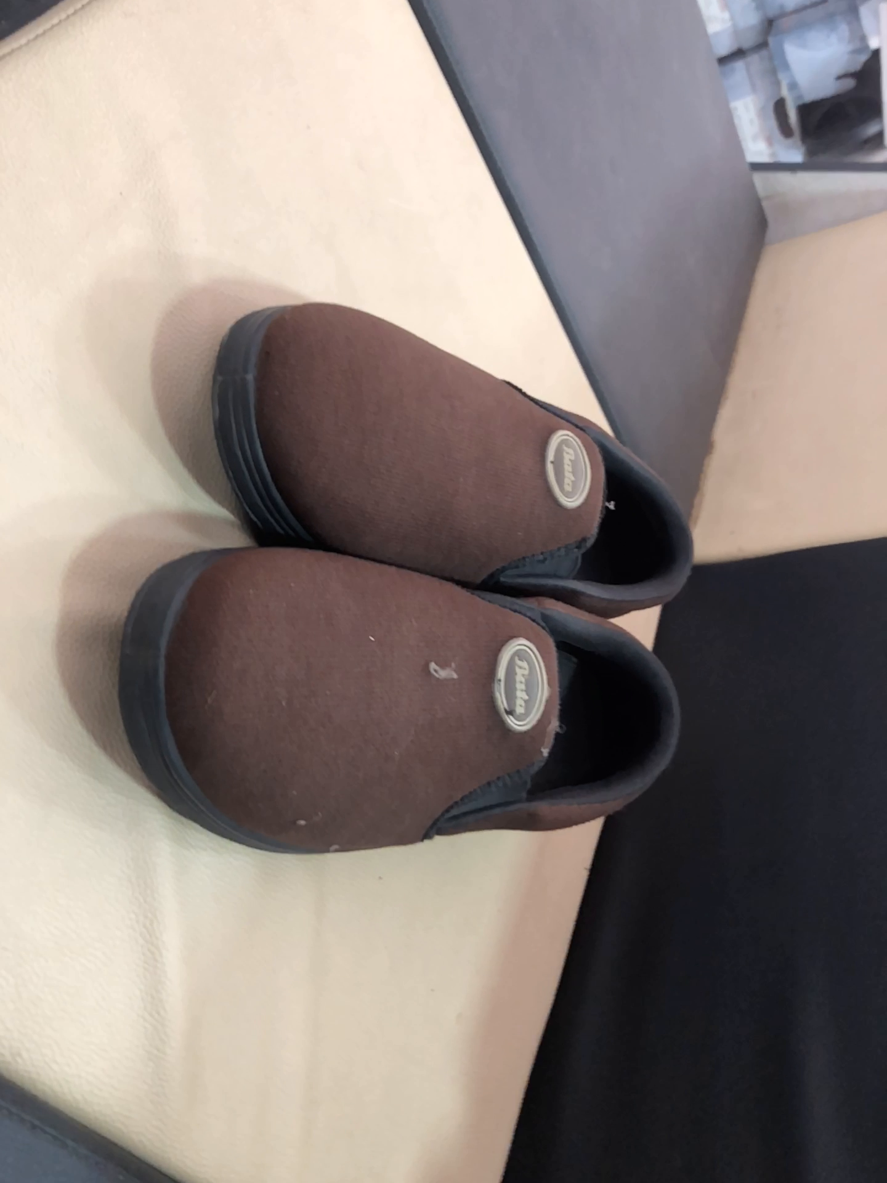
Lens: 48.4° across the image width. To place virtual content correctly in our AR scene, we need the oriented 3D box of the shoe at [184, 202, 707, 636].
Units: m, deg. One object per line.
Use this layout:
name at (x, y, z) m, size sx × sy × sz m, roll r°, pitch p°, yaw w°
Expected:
shoe at (0.023, -0.047, 0.418) m, size 0.252 × 0.089 × 0.090 m, roll 18°, pitch 70°, yaw -53°

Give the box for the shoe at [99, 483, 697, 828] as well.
shoe at (0.011, 0.044, 0.386) m, size 0.272 × 0.079 × 0.090 m, roll 18°, pitch 70°, yaw -53°
